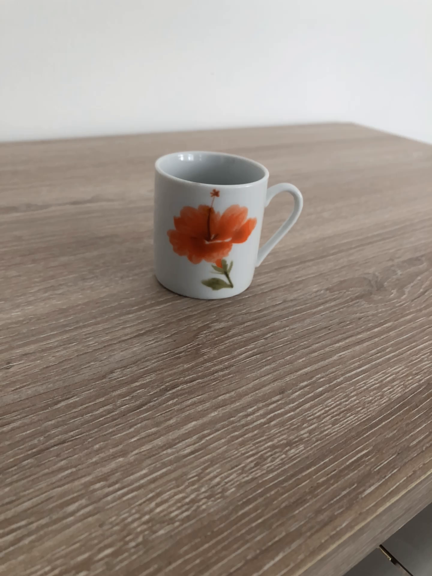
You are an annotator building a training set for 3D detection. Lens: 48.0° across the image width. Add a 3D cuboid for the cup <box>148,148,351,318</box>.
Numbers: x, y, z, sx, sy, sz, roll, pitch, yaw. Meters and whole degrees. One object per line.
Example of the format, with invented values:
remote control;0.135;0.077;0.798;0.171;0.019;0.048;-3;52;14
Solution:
cup;0.009;-0.028;0.234;0.080;0.060;0.060;-1;29;-11
